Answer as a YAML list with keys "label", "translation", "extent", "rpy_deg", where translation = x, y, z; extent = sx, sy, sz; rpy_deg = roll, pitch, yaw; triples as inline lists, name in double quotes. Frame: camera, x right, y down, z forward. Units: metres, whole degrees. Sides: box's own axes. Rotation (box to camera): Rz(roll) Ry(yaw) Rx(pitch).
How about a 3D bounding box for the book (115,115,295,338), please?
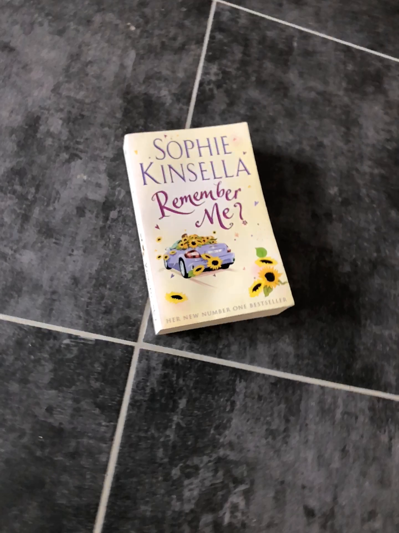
- label: "book"
  translation: [-0.001, -0.044, 0.424]
  extent: [0.130, 0.040, 0.200]
  rpy_deg: [-9, 73, -11]
